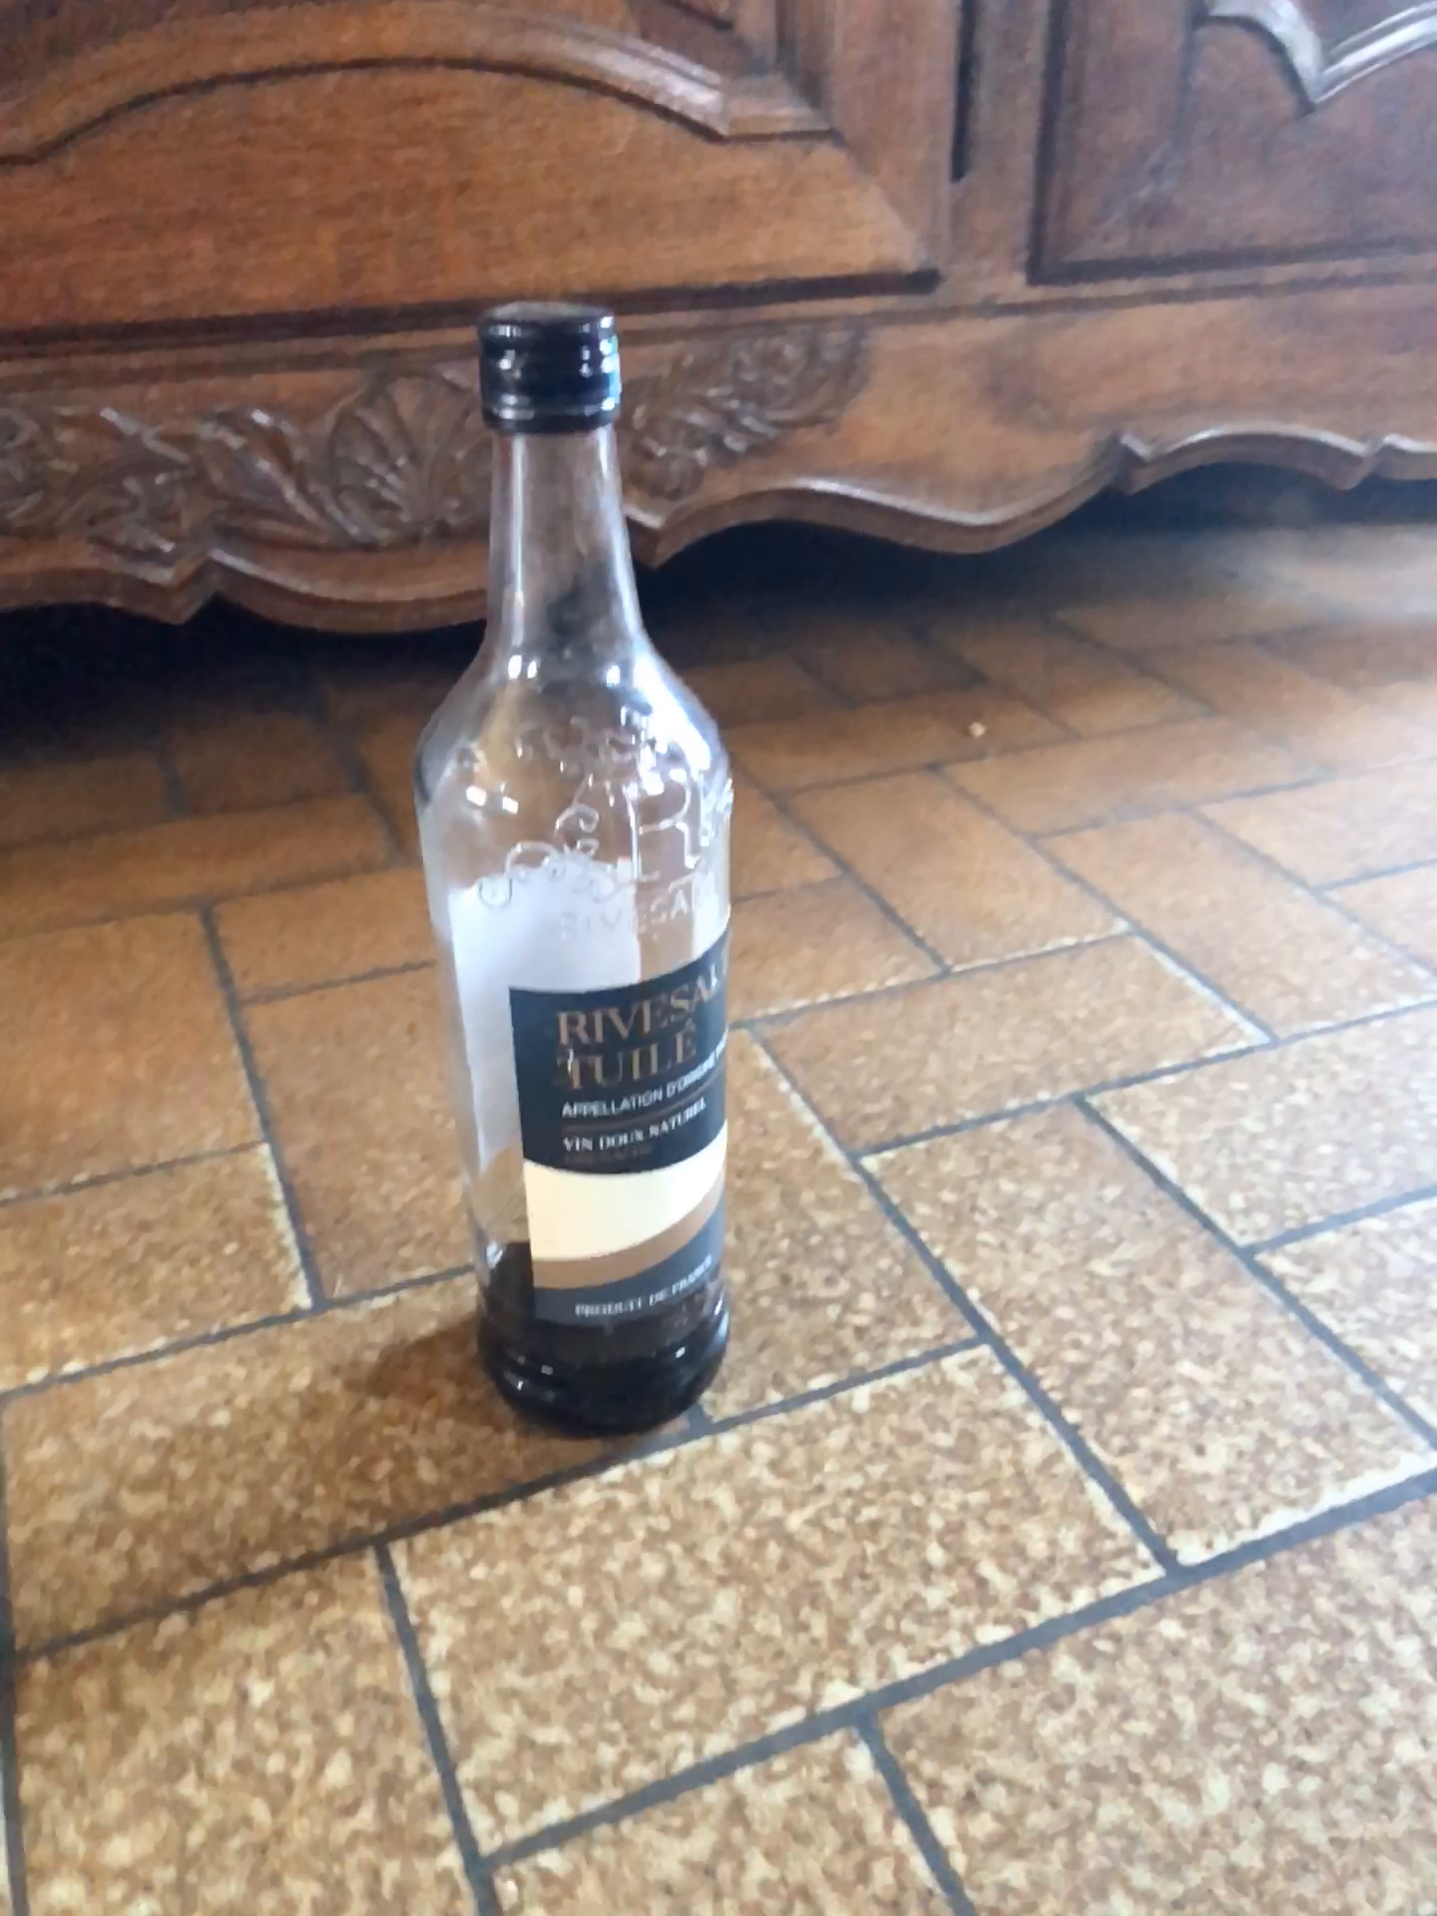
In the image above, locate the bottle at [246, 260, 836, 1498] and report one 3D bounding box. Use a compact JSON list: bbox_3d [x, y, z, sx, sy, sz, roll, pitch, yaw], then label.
[{"bbox_3d":[-0.039,-0.012,0.416,0.090,0.298,0.090,0,31,0],"label":"bottle"}]
